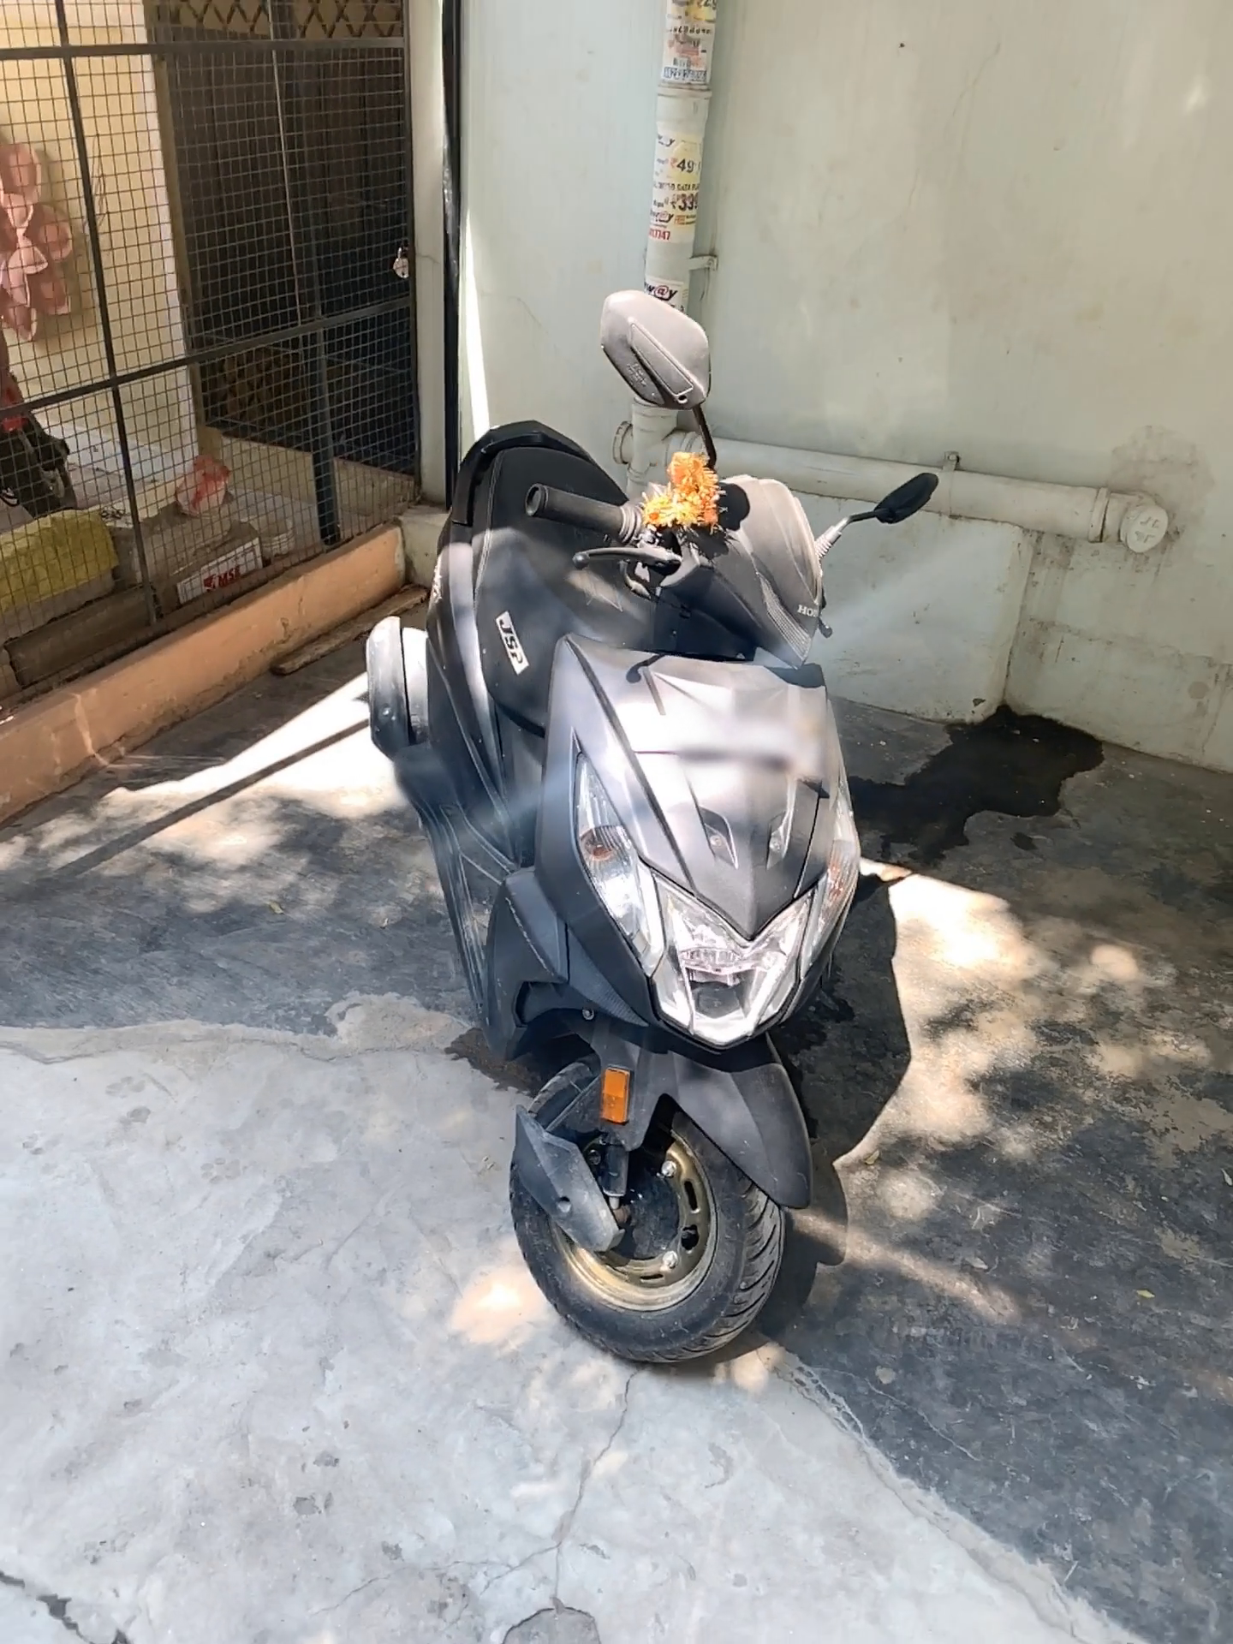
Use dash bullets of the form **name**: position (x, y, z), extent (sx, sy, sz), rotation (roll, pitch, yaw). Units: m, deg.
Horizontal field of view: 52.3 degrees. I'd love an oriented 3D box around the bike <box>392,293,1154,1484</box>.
- **bike**: position (0.031, -0.015, 2.152), extent (0.502, 1.278, 1.515), rotation (-7, 37, -17)
